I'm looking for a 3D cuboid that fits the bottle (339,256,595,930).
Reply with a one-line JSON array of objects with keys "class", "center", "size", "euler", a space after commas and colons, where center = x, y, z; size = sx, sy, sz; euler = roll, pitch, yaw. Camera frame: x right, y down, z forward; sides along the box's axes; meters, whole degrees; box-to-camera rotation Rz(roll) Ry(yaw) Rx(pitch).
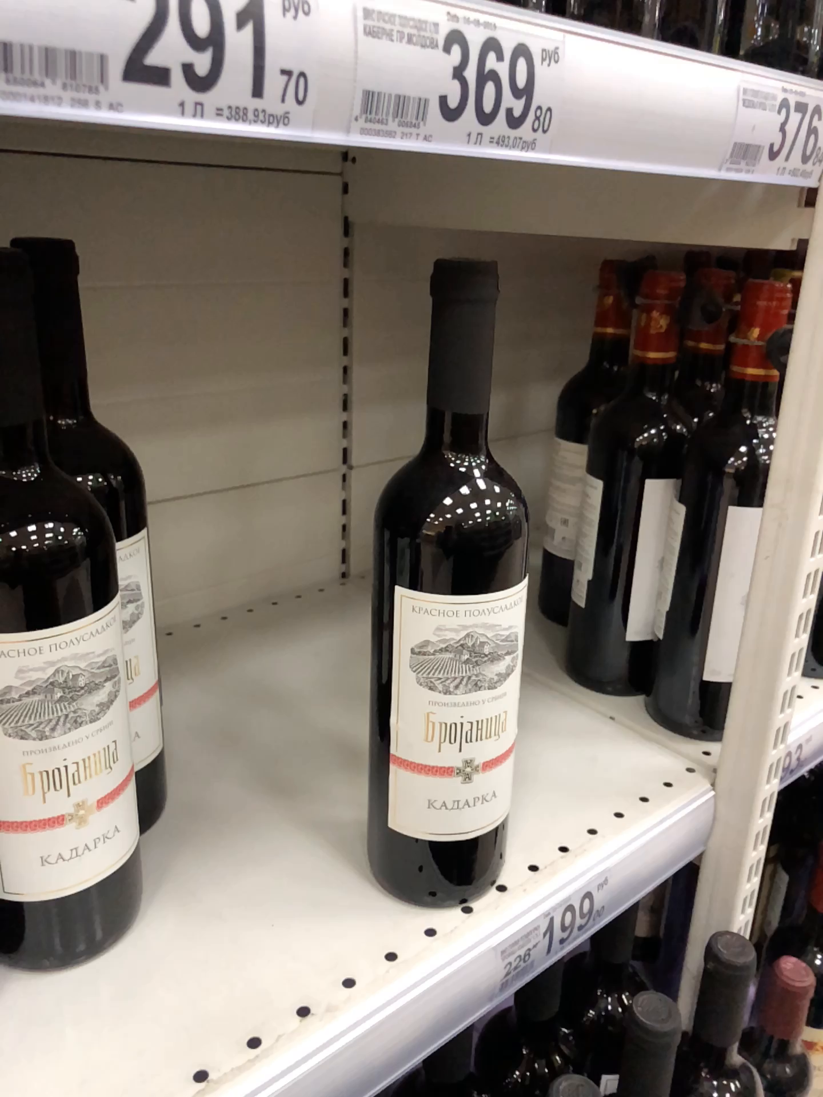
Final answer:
[{"class": "bottle", "center": [0.016, 0.024, 0.437], "size": [0.080, 0.308, 0.080], "euler": [2, 20, -1]}]
